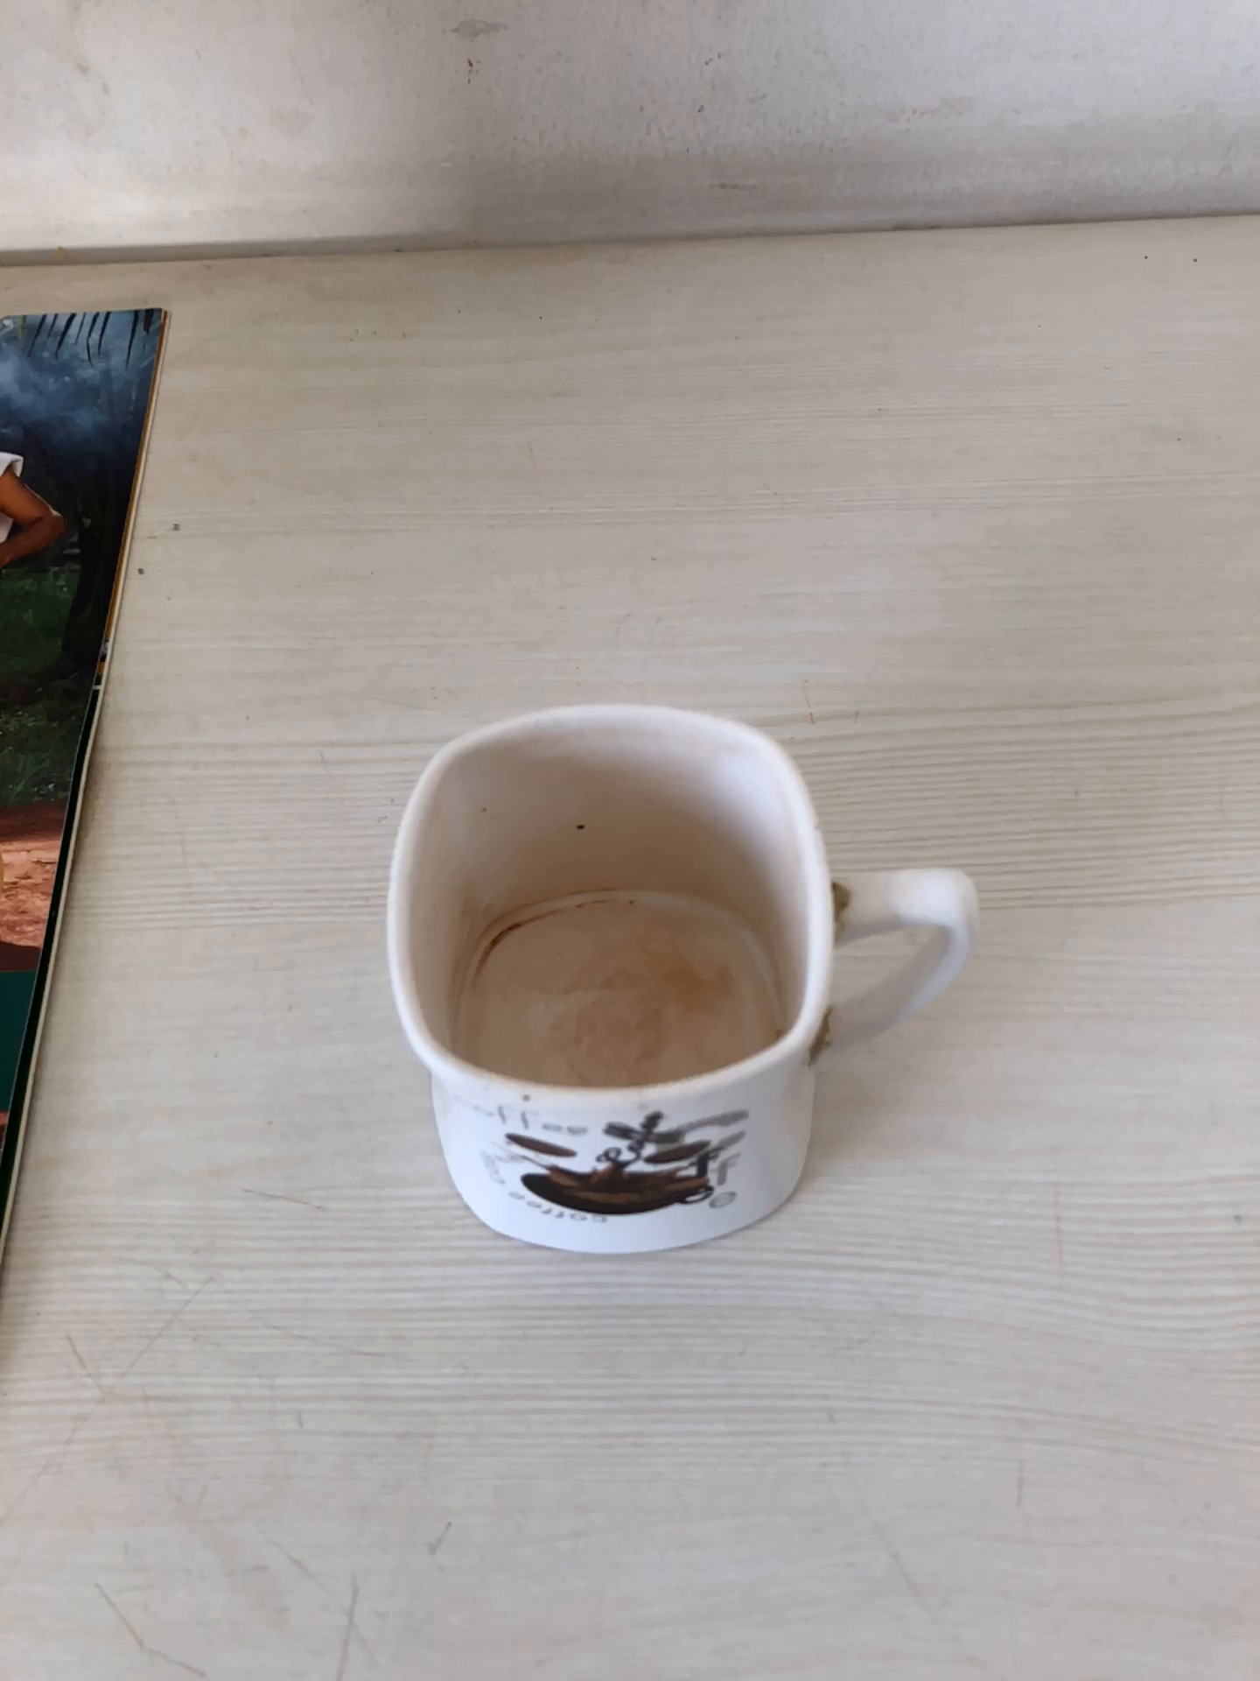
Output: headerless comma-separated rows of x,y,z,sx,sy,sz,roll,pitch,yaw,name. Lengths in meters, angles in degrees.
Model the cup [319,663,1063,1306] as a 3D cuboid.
0.006,0.025,0.216,0.090,0.070,0.070,-4,60,0,cup
